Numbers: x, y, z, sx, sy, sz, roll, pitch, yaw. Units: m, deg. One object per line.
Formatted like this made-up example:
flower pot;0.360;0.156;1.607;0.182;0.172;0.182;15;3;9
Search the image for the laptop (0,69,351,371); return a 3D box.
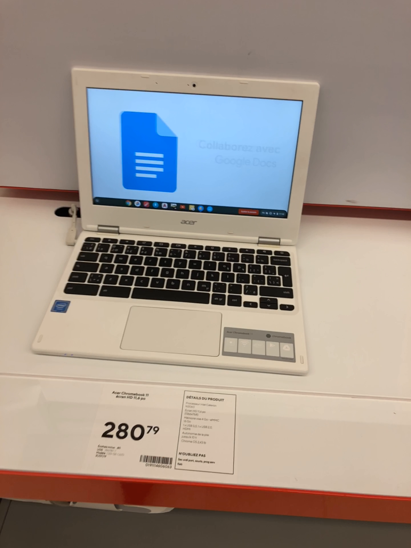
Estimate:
laptop;-0.027;-0.069;0.493;0.282;0.188;0.260;4;45;2
